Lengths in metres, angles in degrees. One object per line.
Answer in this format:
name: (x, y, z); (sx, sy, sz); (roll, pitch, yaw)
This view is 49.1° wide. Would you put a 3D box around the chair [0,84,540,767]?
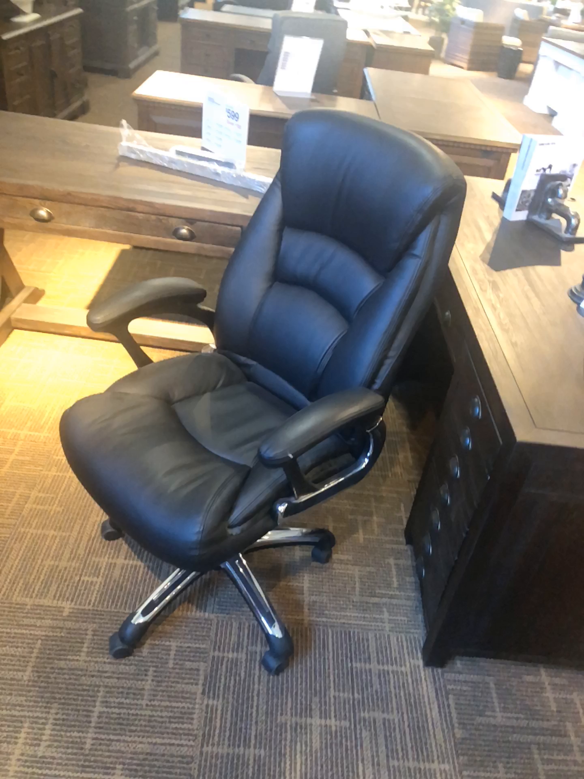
chair: (-0.132, 0.021, 1.423); (0.771, 1.118, 0.702); (-25, 47, -38)
